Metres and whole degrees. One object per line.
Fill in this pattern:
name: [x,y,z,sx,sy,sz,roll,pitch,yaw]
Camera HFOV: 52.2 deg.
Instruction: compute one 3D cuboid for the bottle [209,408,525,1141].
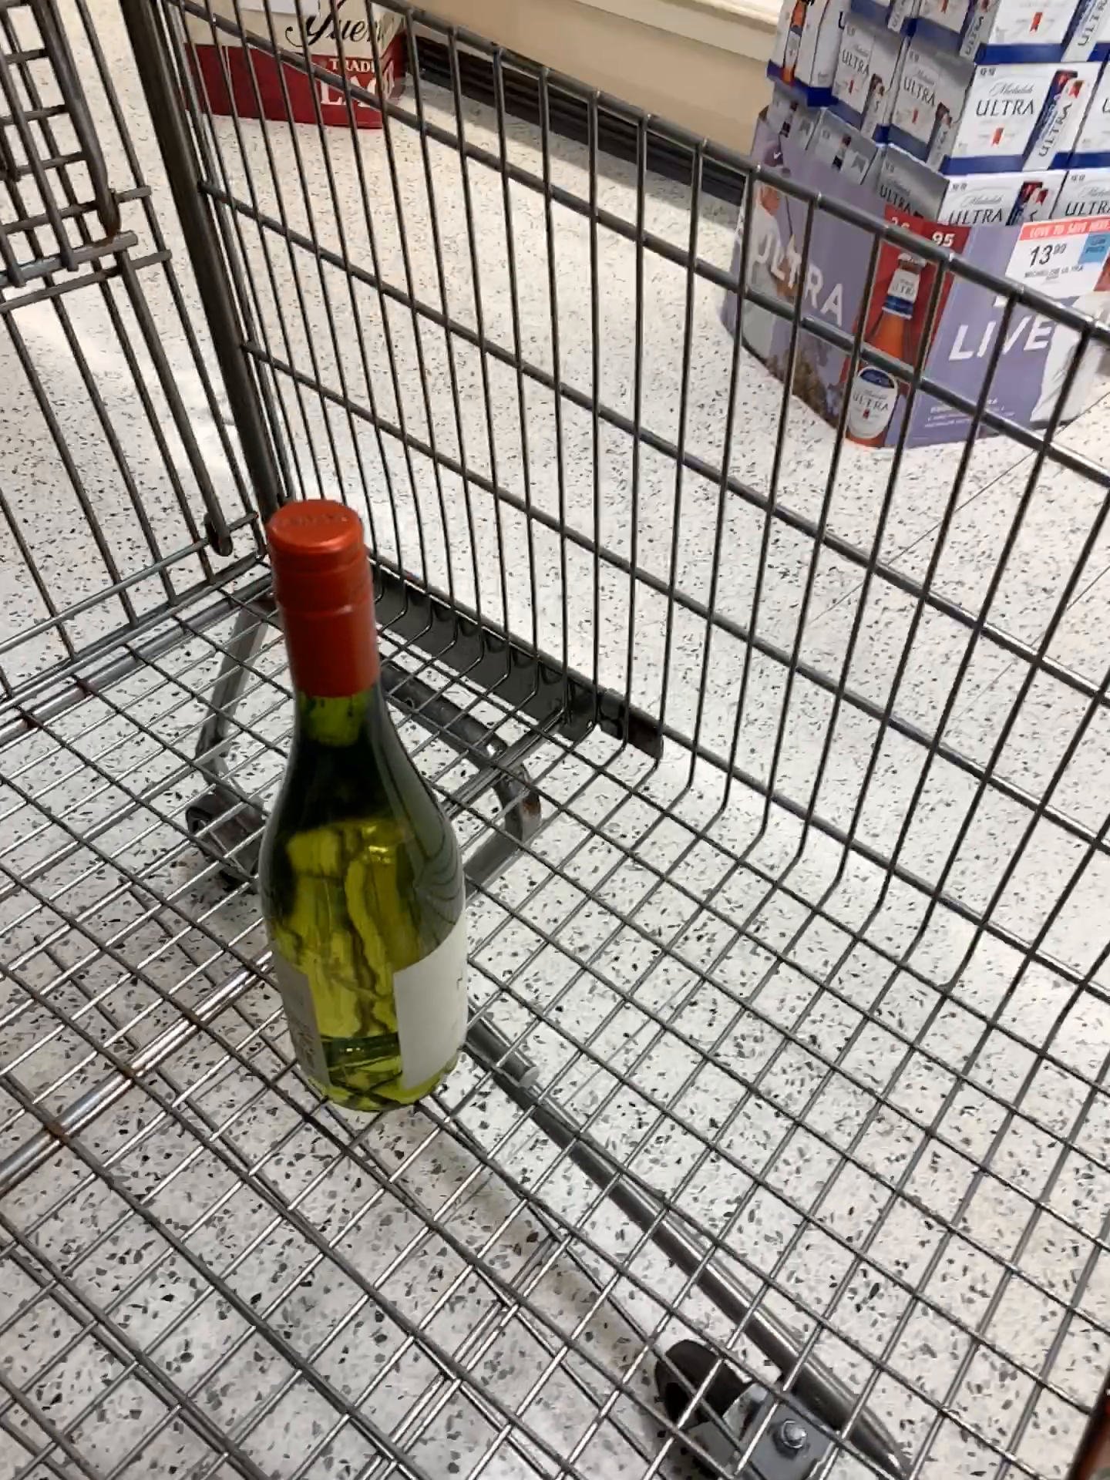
bottle: [-0.066,0.034,0.426,0.080,0.297,0.091,-3,45,-9]
